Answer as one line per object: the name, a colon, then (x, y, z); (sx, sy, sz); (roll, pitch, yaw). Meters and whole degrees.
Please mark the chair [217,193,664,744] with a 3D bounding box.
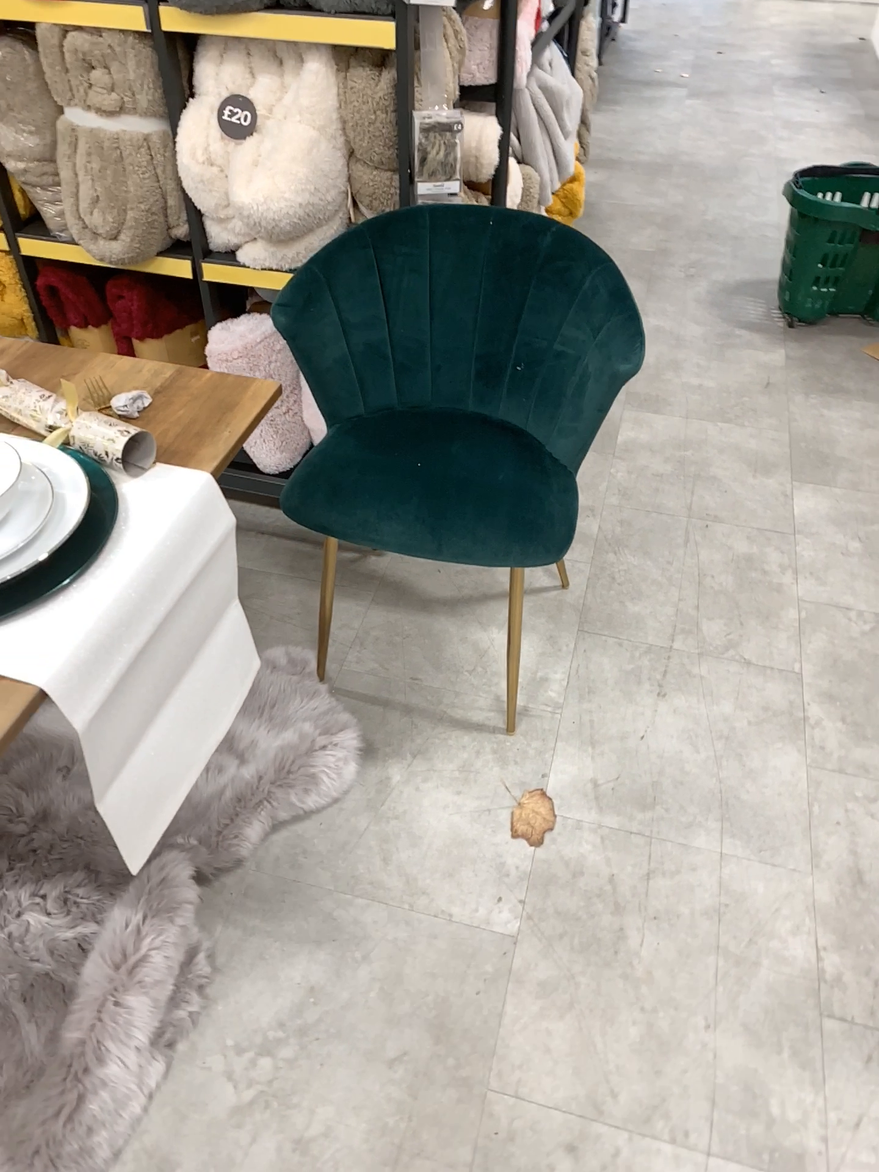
chair: (0.038, -0.216, 1.579); (0.548, 0.691, 0.575); (11, 44, 11)
